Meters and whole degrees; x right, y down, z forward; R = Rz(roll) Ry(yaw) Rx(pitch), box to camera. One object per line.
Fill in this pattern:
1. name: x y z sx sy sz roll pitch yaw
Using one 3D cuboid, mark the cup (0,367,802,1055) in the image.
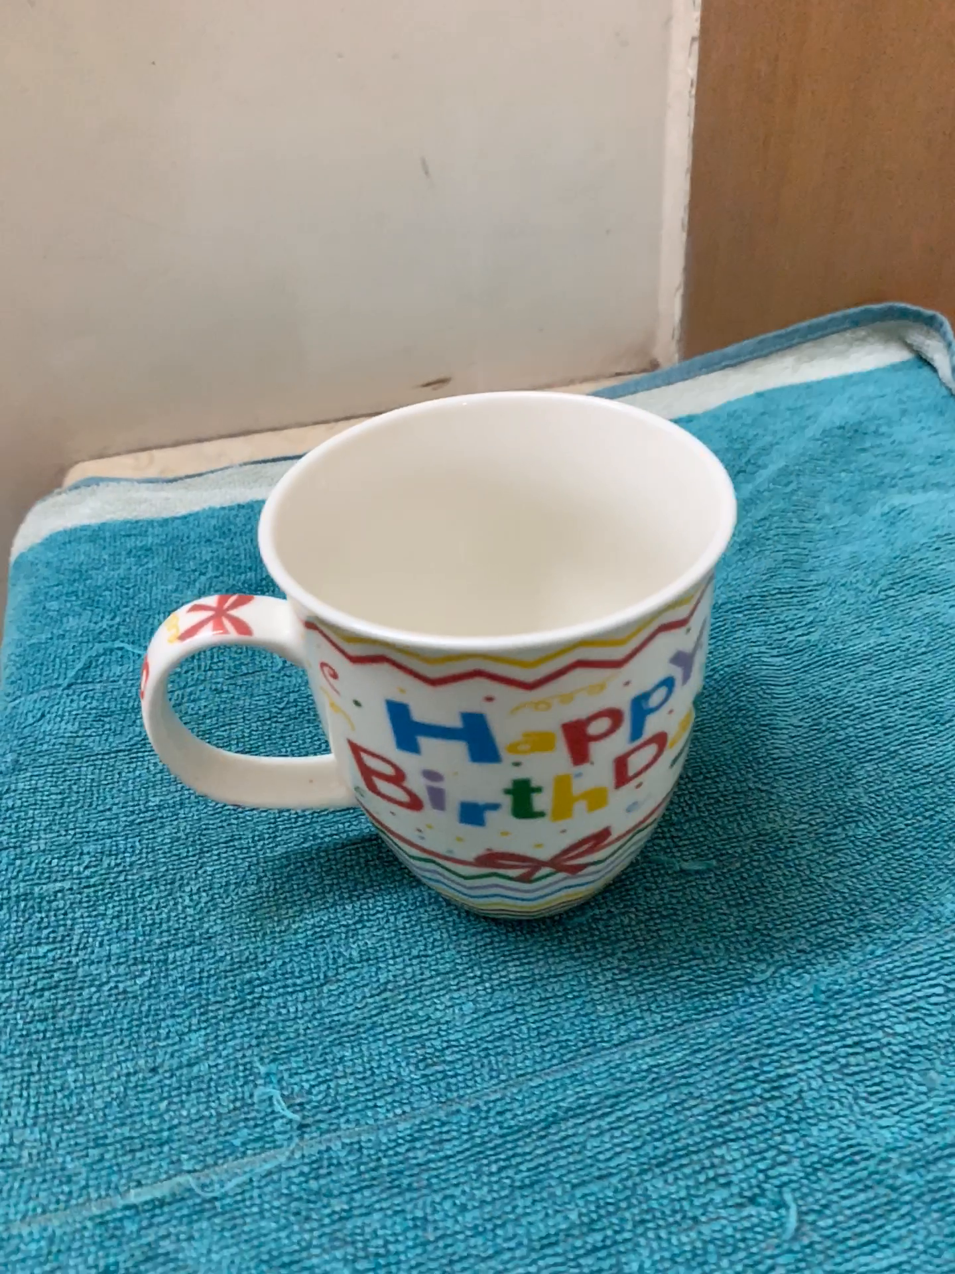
1. cup: -0.015 0.013 0.224 0.130 0.099 0.091 -9 39 -5
